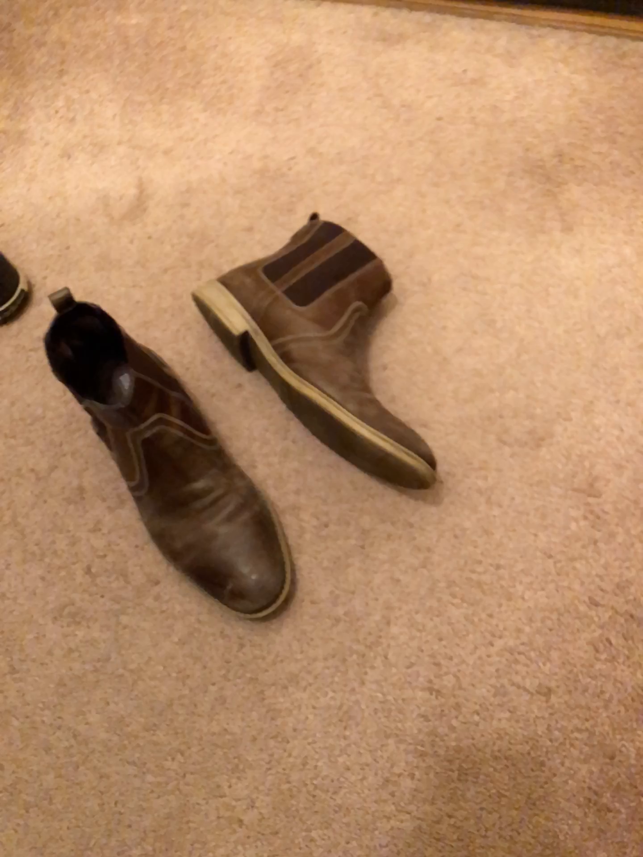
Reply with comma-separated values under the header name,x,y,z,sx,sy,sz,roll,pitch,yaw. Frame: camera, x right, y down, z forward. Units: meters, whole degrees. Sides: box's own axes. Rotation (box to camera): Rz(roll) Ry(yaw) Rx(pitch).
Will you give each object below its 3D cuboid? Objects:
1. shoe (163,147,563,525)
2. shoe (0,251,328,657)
name,x,y,z,sx,sy,sz,roll,pitch,yaw
shoe,0.034,-0.093,0.683,0.186,0.115,0.314,-44,69,-9
shoe,-0.139,0.027,0.624,0.115,0.176,0.309,-35,68,-7
